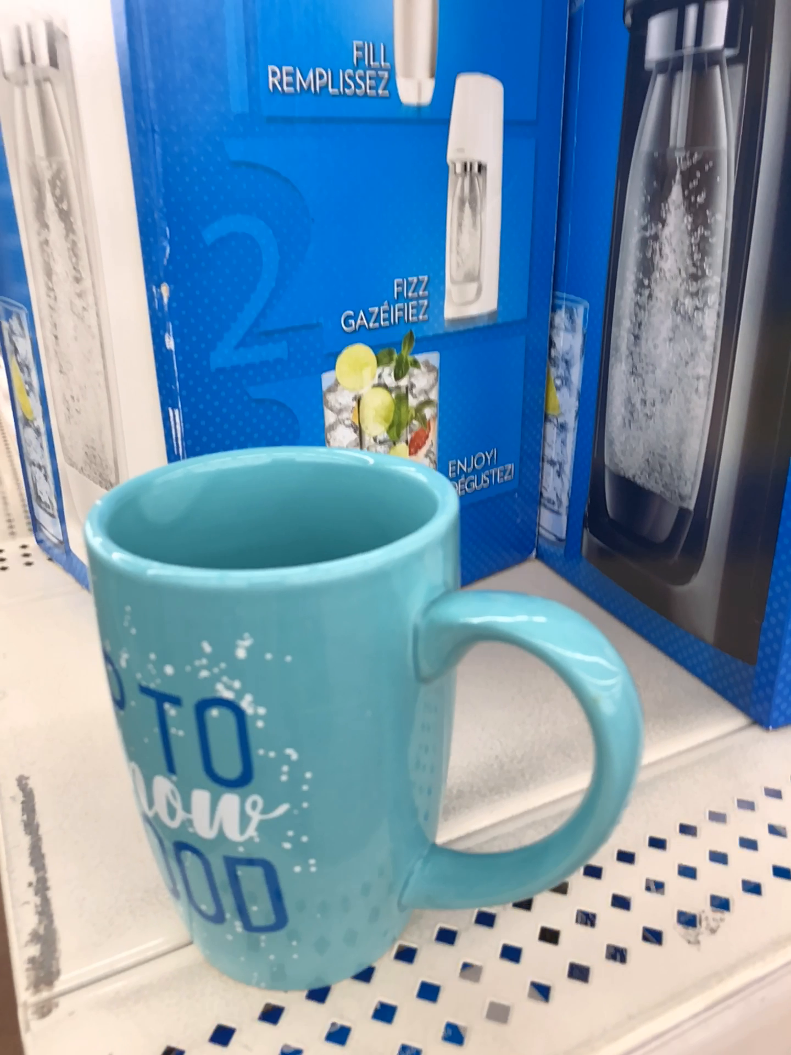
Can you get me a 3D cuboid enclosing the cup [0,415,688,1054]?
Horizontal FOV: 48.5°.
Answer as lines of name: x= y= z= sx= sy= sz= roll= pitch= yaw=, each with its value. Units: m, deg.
cup: x=-0.010 y=0.048 z=0.225 sx=0.140 sy=0.120 sz=0.090 roll=9 pitch=24 yaw=22
